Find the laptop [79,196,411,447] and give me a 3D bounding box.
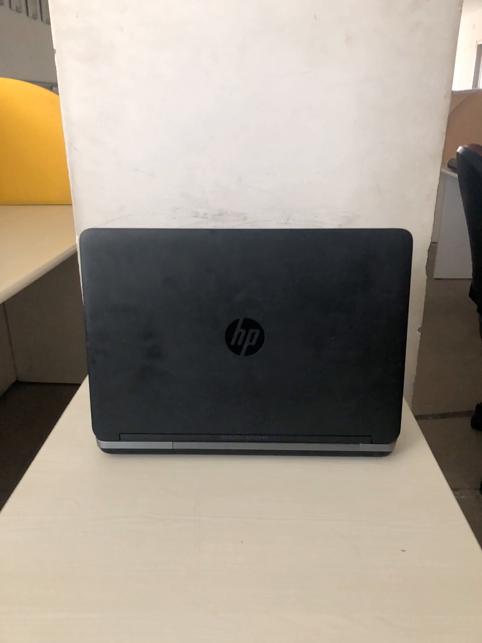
[{"bbox_3d":[0.008,-0.013,0.639,0.317,0.226,0.205,1,23,2],"label":"laptop"}]
